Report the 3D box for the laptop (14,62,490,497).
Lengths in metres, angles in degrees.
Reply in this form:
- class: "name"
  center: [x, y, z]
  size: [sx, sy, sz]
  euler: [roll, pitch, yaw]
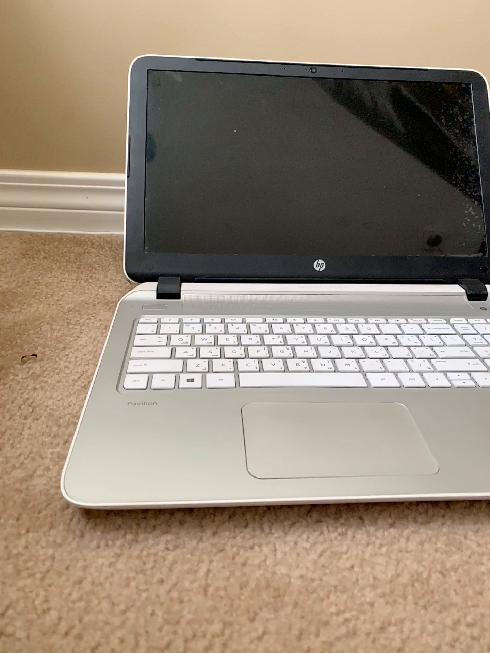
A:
- class: "laptop"
  center: [0.080, -0.082, 0.375]
  size: [0.349, 0.187, 0.351]
  euler: [0, 29, -4]
